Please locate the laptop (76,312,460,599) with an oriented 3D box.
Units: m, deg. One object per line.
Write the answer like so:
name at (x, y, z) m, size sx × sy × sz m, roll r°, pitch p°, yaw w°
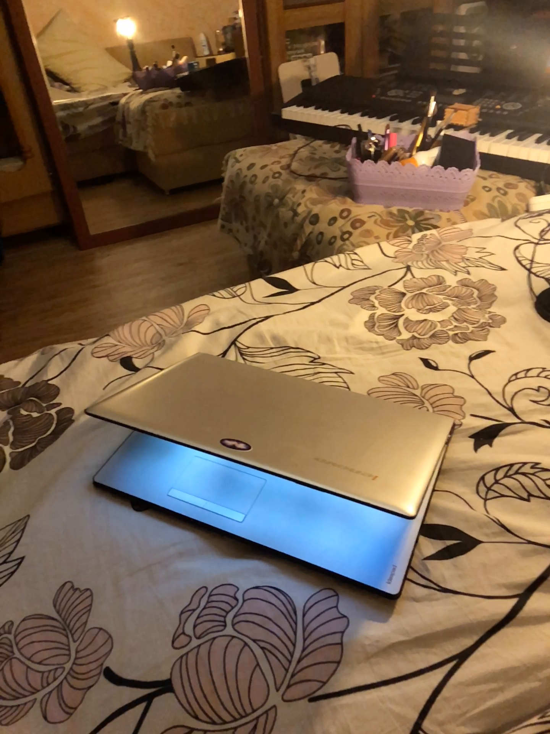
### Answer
laptop at (0.000, 0.071, 0.721) m, size 0.380 × 0.082 × 0.257 m, roll 13°, pitch 41°, yaw 23°
